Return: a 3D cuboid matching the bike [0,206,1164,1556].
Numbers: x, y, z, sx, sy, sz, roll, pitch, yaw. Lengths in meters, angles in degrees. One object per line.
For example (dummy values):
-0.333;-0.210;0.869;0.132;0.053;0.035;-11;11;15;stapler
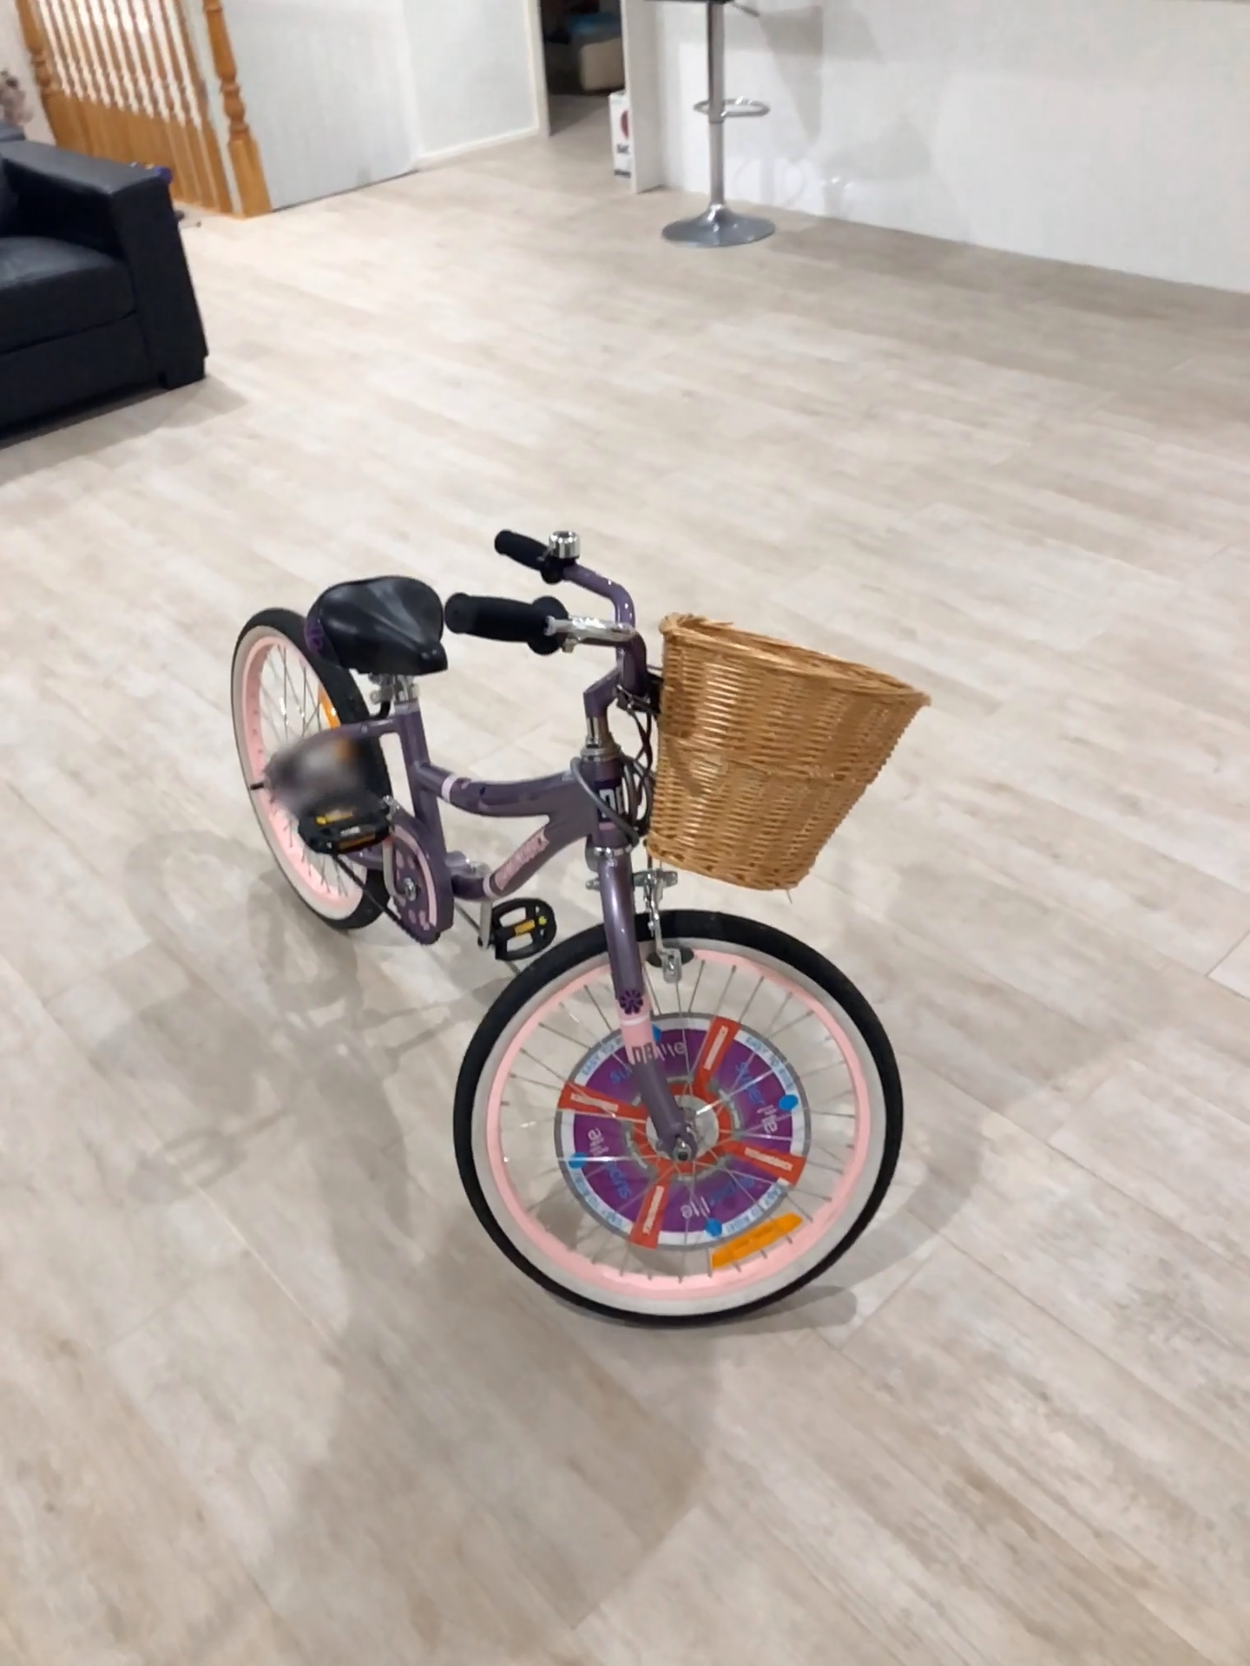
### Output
-0.165;-0.056;1.667;1.219;0.877;0.749;33;51;32;bike
